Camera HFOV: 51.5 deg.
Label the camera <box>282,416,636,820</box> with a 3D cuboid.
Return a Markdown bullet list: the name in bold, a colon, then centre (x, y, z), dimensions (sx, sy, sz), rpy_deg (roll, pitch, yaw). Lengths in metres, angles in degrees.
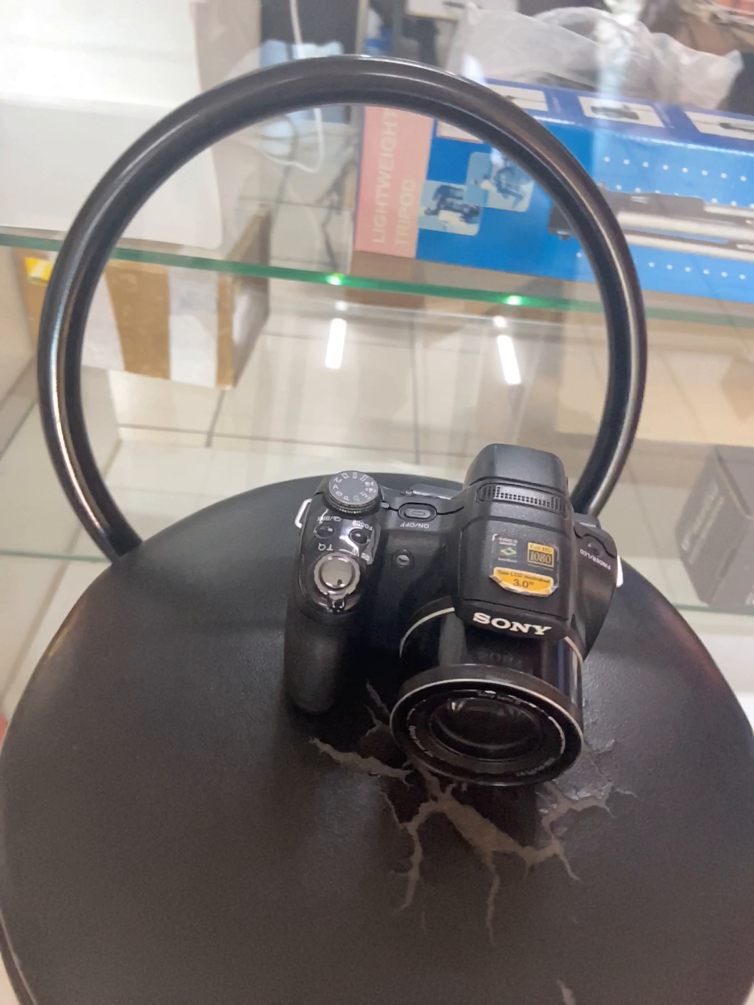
- **camera**: centre (0.028, 0.038, 0.283), dimensions (0.100, 0.079, 0.101), rpy_deg (10, 40, 4)
